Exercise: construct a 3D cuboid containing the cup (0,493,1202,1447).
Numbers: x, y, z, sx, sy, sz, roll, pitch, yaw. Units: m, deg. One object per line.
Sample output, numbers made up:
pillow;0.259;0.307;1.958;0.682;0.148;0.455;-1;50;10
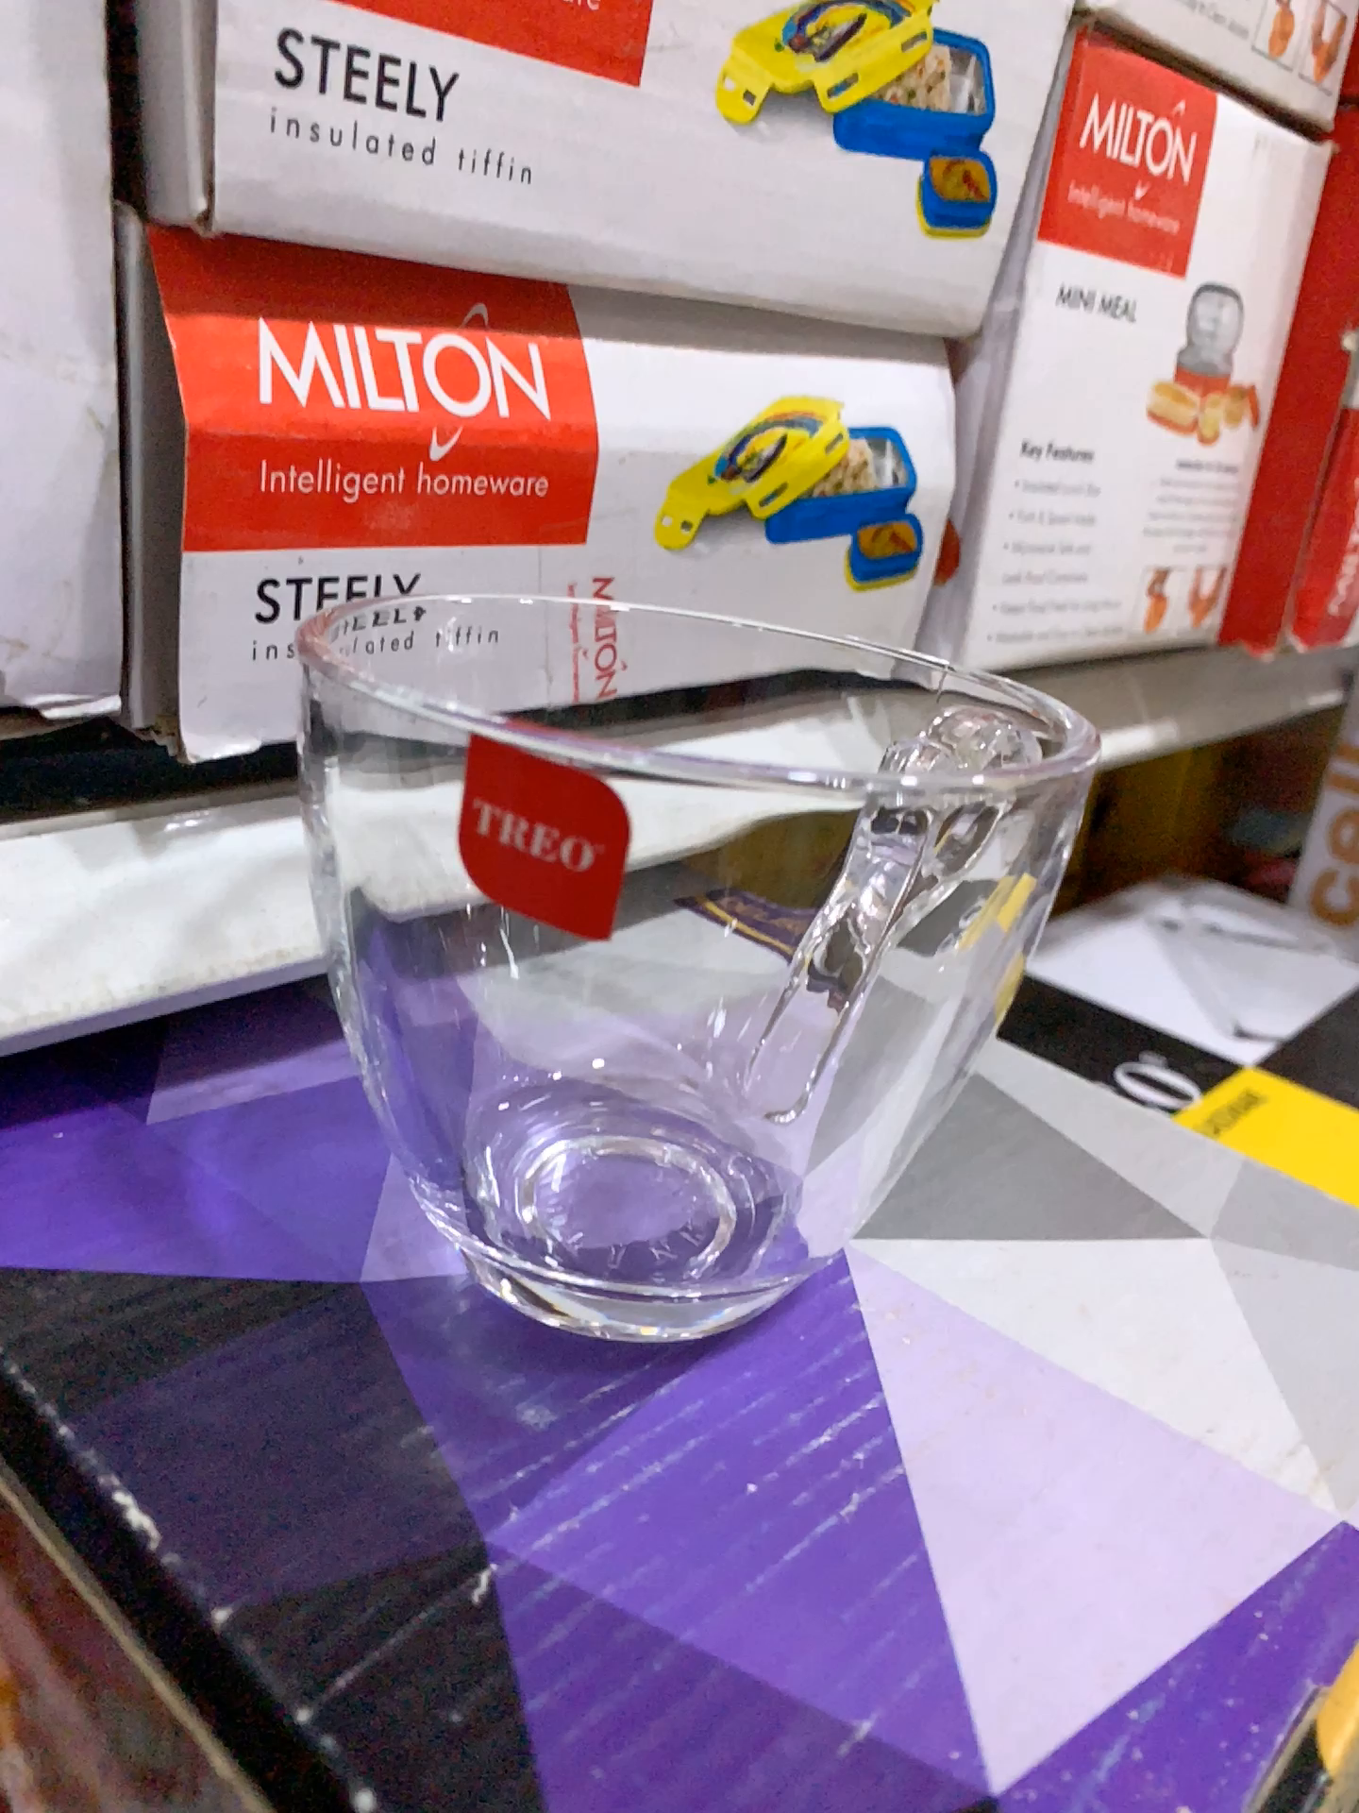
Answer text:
cup;-0.008;-0.010;0.168;0.080;0.060;0.110;27;29;35
